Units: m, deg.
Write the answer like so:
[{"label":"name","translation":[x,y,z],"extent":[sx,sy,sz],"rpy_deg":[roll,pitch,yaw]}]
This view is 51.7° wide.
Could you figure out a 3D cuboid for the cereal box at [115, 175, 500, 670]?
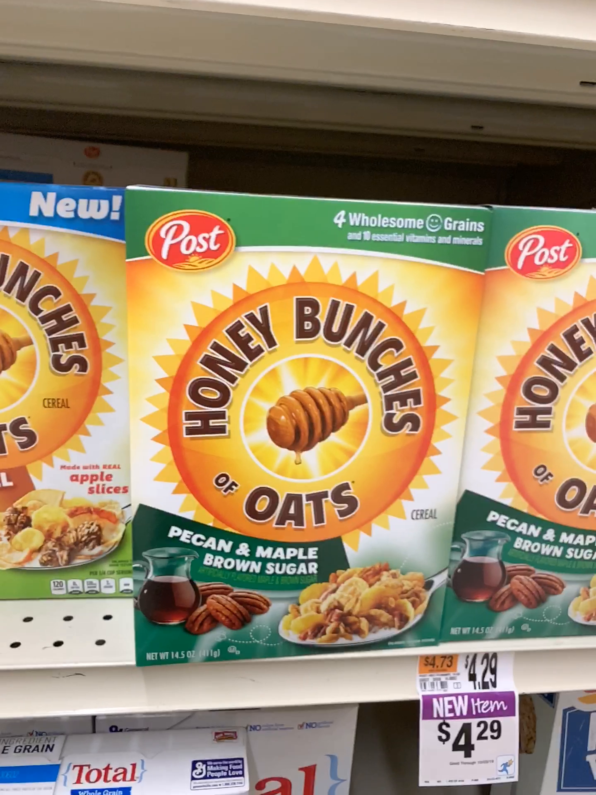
[{"label":"cereal box","translation":[-0.002,0.020,0.378],"extent":[0.200,0.279,0.060],"rpy_deg":[0,16,-11]}]
